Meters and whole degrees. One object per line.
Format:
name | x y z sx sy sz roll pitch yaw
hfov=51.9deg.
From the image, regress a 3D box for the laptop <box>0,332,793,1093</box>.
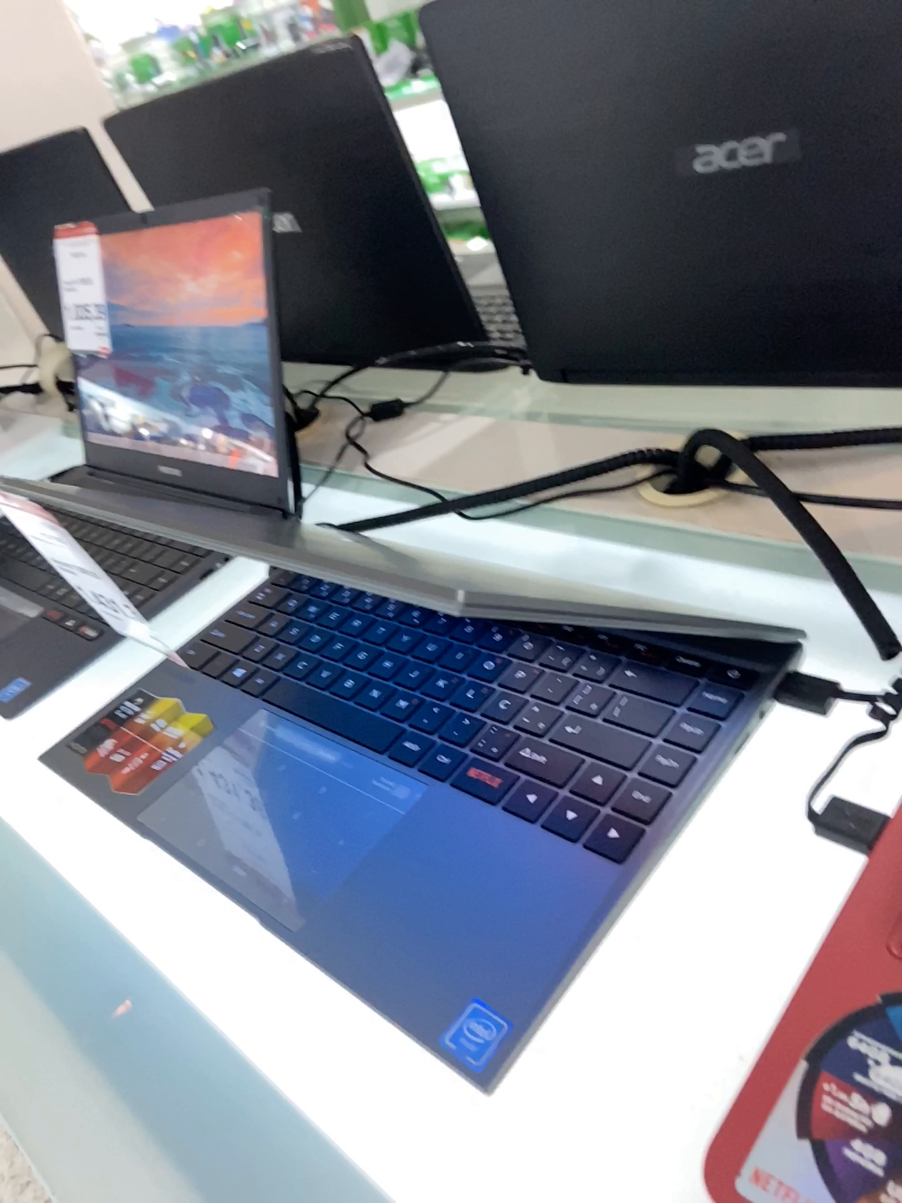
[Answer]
laptop | -0.064 -0.001 0.405 0.328 0.139 0.211 14 47 43
